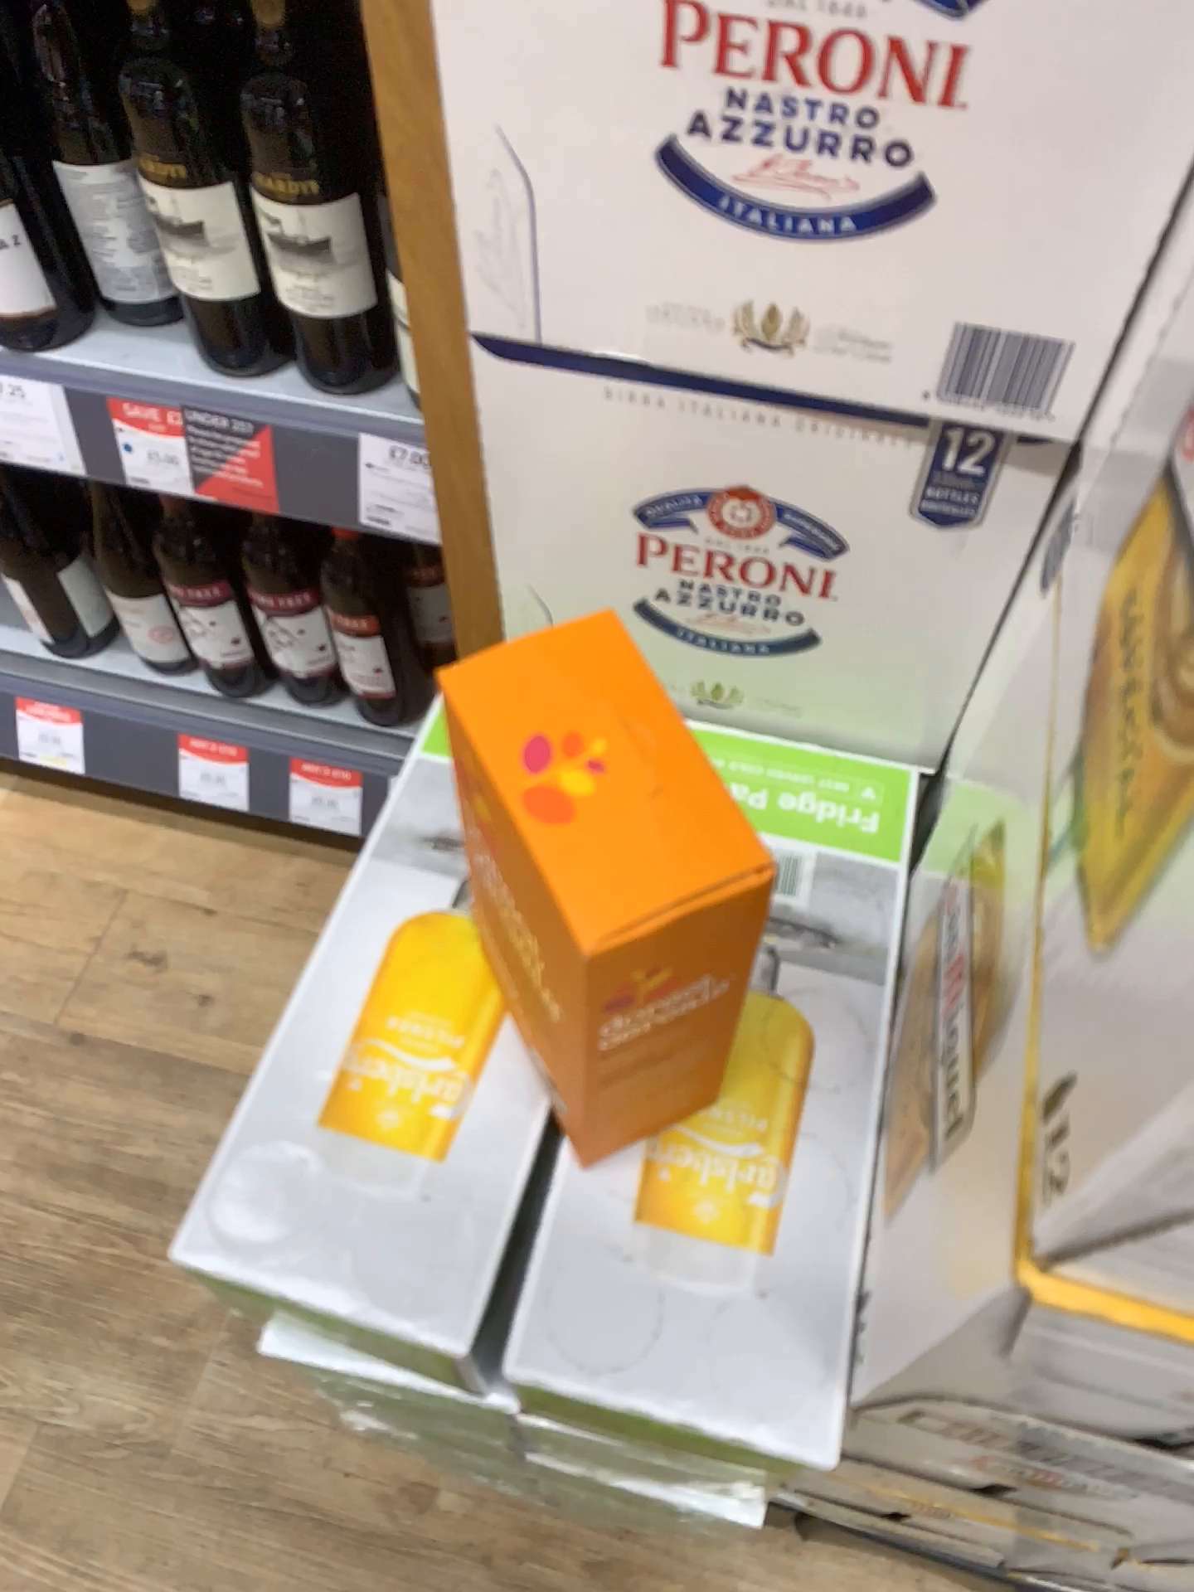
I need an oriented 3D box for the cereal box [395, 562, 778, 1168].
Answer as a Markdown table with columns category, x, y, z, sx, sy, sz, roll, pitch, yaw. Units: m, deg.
| category | x | y | z | sx | sy | sz | roll | pitch | yaw |
| --- | --- | --- | --- | --- | --- | --- | --- | --- | --- |
| cereal box | -0.007 | 0.036 | 0.440 | 0.070 | 0.198 | 0.121 | -21 | 58 | -14 |
